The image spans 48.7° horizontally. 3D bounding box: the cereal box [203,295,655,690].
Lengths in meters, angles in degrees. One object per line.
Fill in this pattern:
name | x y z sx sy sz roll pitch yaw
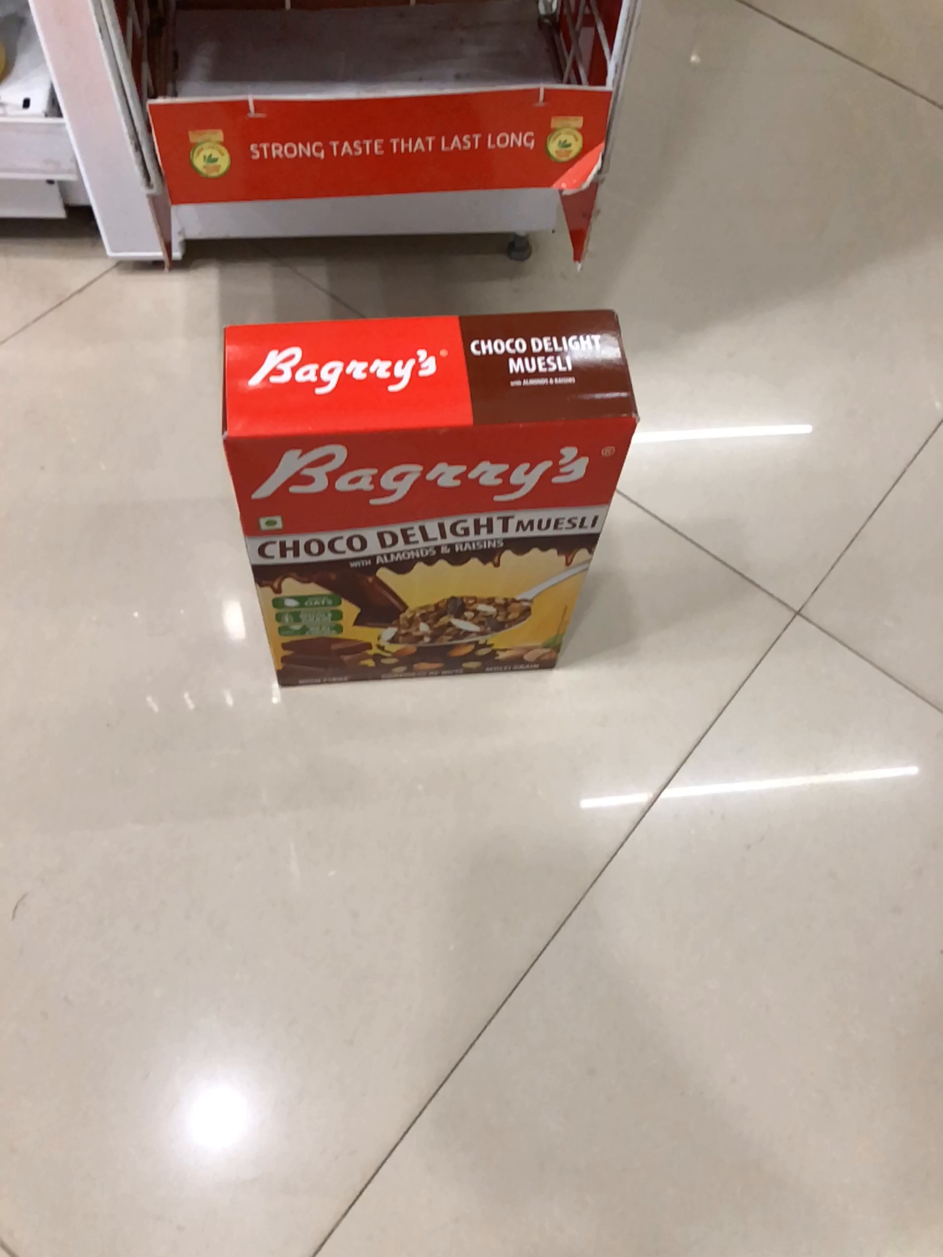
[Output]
cereal box | -0.029 -0.058 0.566 0.190 0.259 0.070 -3 62 -7
